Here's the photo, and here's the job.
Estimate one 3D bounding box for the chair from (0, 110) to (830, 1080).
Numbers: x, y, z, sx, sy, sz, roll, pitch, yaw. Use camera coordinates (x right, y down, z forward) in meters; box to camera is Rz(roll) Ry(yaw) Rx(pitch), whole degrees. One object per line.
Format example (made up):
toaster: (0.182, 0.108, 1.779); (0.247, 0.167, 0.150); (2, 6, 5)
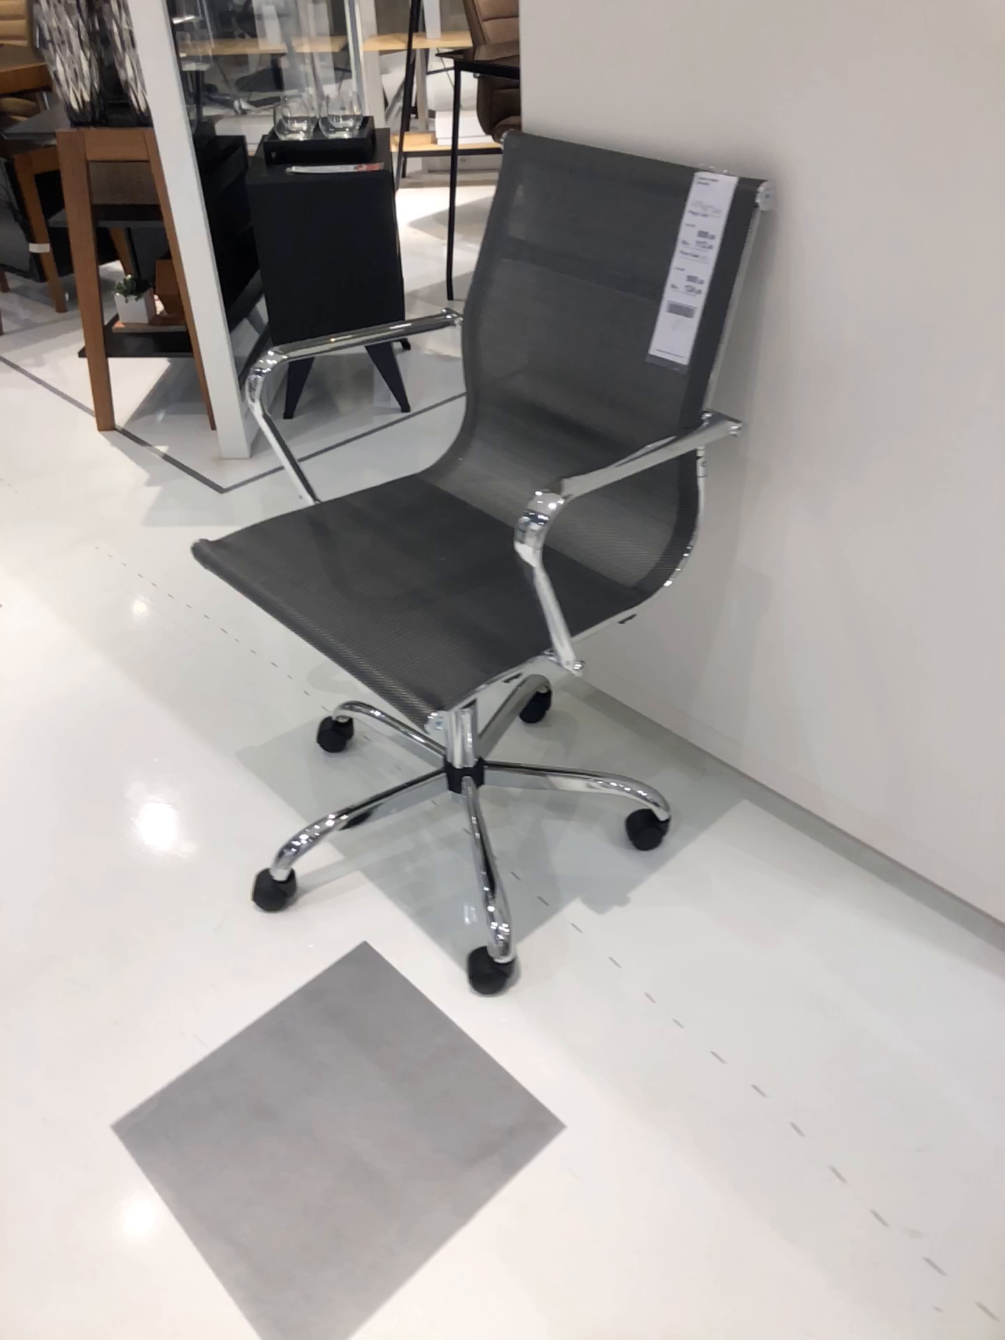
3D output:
chair: (-0.093, -0.139, 1.427); (0.652, 0.903, 0.623); (-29, 44, -31)
